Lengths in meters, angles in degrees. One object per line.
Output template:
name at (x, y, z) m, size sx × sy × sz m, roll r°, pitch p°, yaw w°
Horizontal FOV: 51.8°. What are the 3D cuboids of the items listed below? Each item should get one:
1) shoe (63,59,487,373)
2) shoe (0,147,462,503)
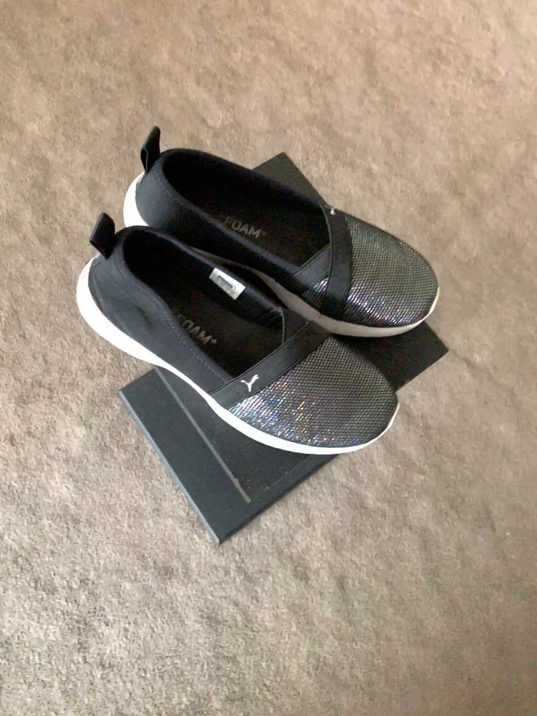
shoe at (0.004, -0.096, 0.403) m, size 0.256 × 0.100 × 0.100 m, roll 23°, pitch 71°, yaw 2°
shoe at (-0.028, -0.015, 0.367) m, size 0.260 × 0.100 × 0.100 m, roll 28°, pitch 72°, yaw 4°
